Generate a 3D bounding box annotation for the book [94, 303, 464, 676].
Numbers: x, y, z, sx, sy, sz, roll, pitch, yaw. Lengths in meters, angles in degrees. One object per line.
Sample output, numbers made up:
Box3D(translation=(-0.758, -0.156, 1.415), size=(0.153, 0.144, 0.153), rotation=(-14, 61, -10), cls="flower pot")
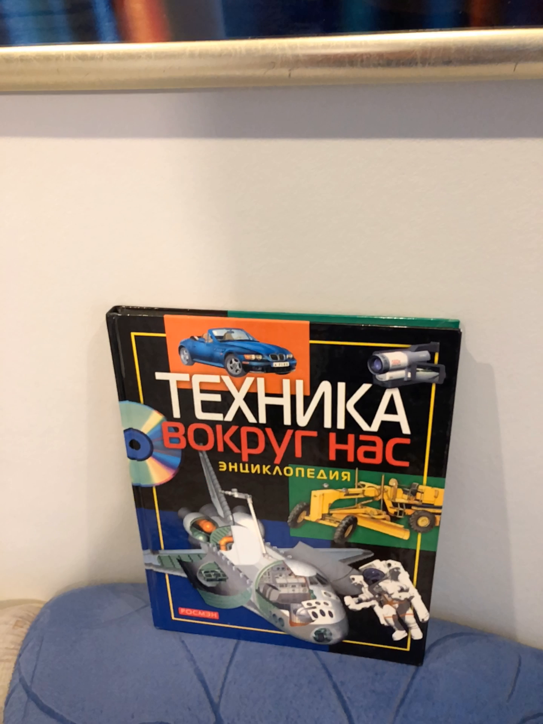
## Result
Box3D(translation=(0.006, 0.098, 0.425), size=(0.220, 0.278, 0.030), rotation=(3, 26, 11), cls="book")
